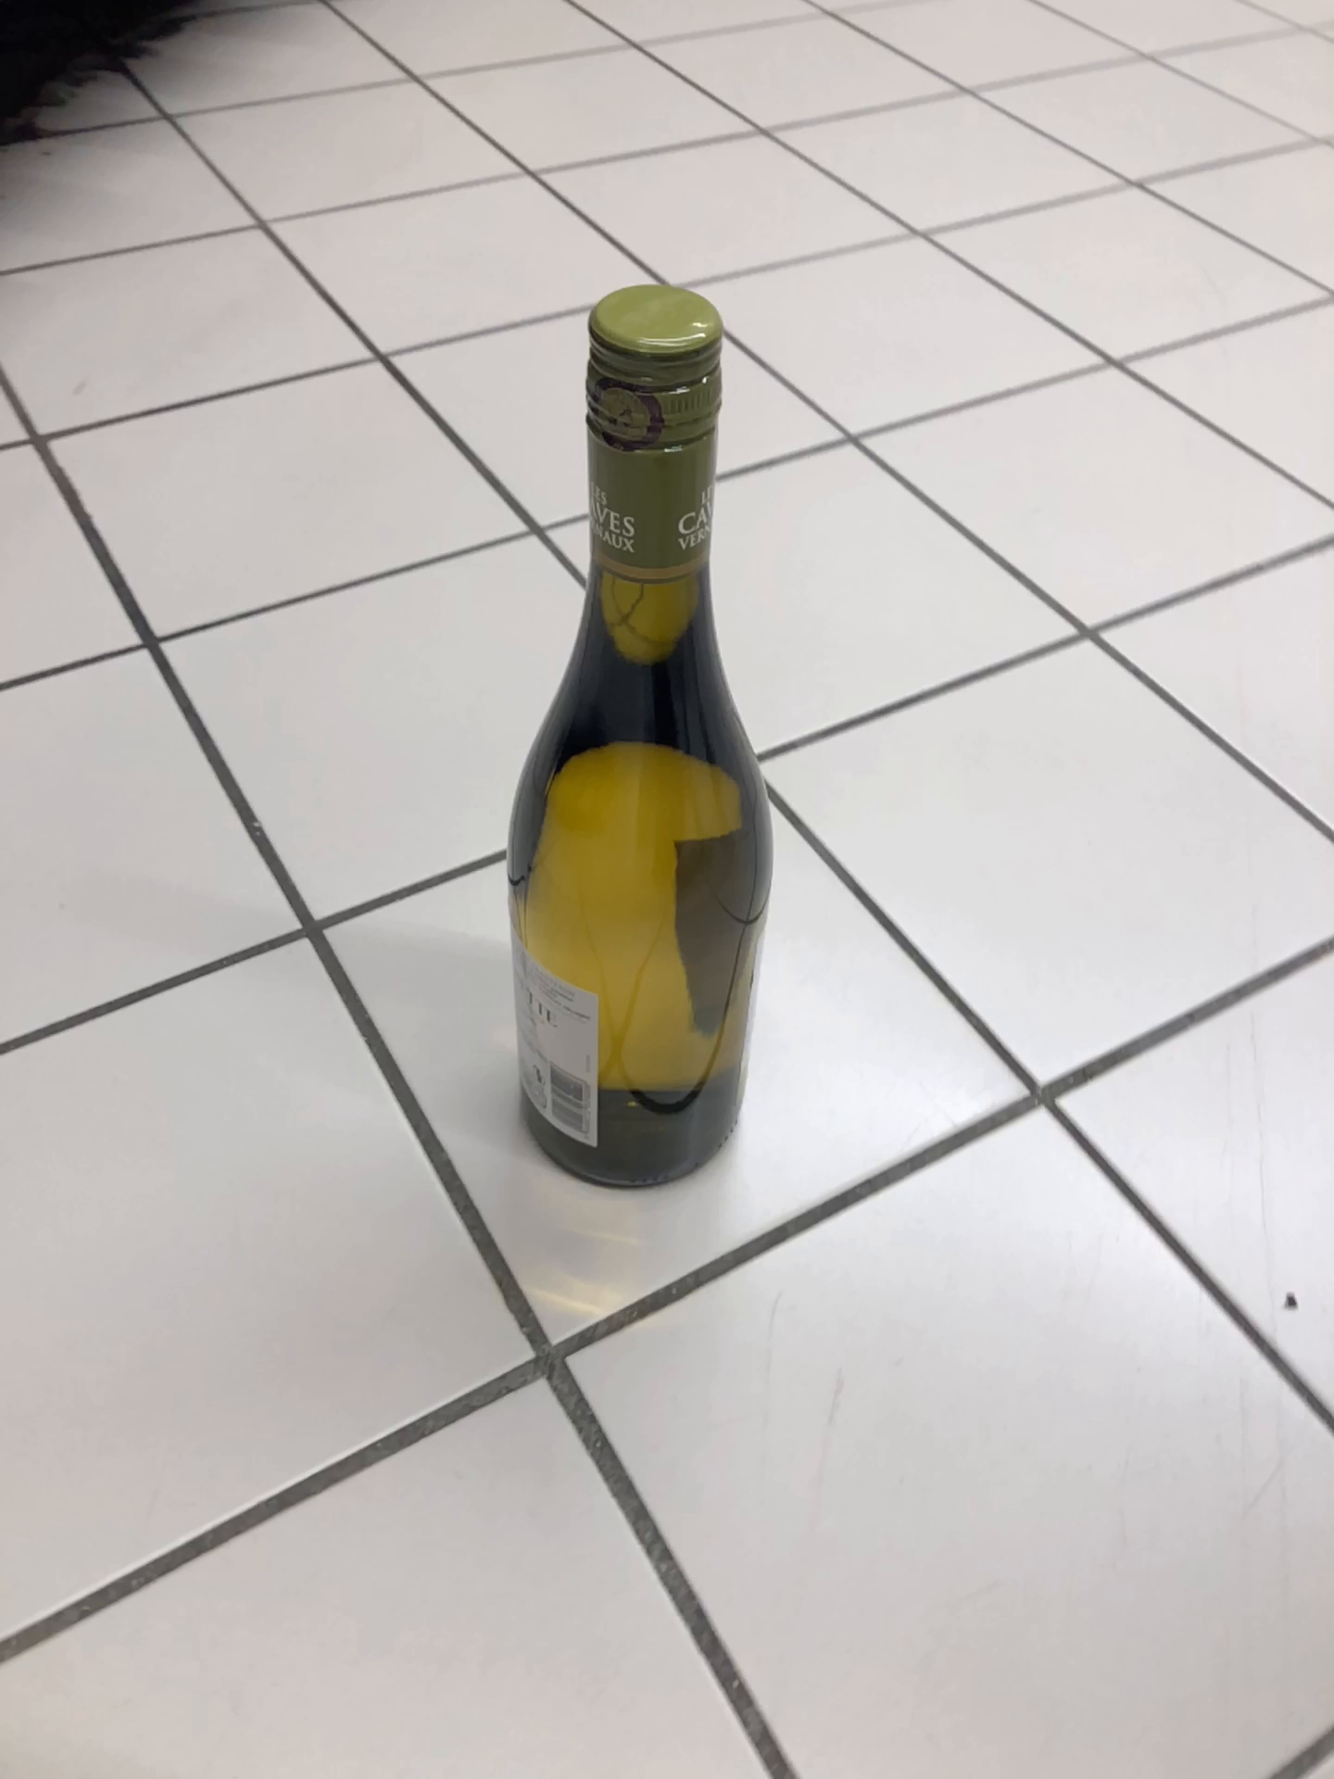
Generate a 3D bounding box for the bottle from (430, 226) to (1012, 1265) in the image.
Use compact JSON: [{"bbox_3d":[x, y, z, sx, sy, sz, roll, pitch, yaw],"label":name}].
[{"bbox_3d":[0.003,-0.019,0.409,0.090,0.278,0.090,2,47,-2],"label":"bottle"}]
